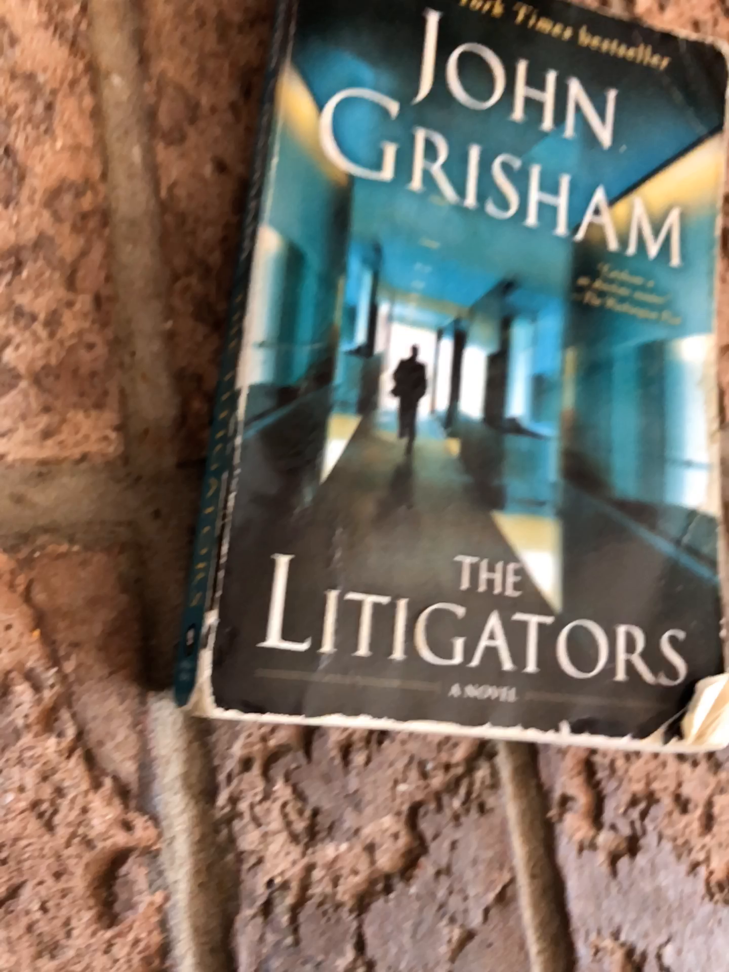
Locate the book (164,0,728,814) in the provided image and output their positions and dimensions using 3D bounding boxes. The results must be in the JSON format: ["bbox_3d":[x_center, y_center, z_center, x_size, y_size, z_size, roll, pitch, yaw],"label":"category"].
[{"bbox_3d":[0.035,-0.030,0.209,0.135,0.033,0.199,10,78,-16],"label":"book"}]
